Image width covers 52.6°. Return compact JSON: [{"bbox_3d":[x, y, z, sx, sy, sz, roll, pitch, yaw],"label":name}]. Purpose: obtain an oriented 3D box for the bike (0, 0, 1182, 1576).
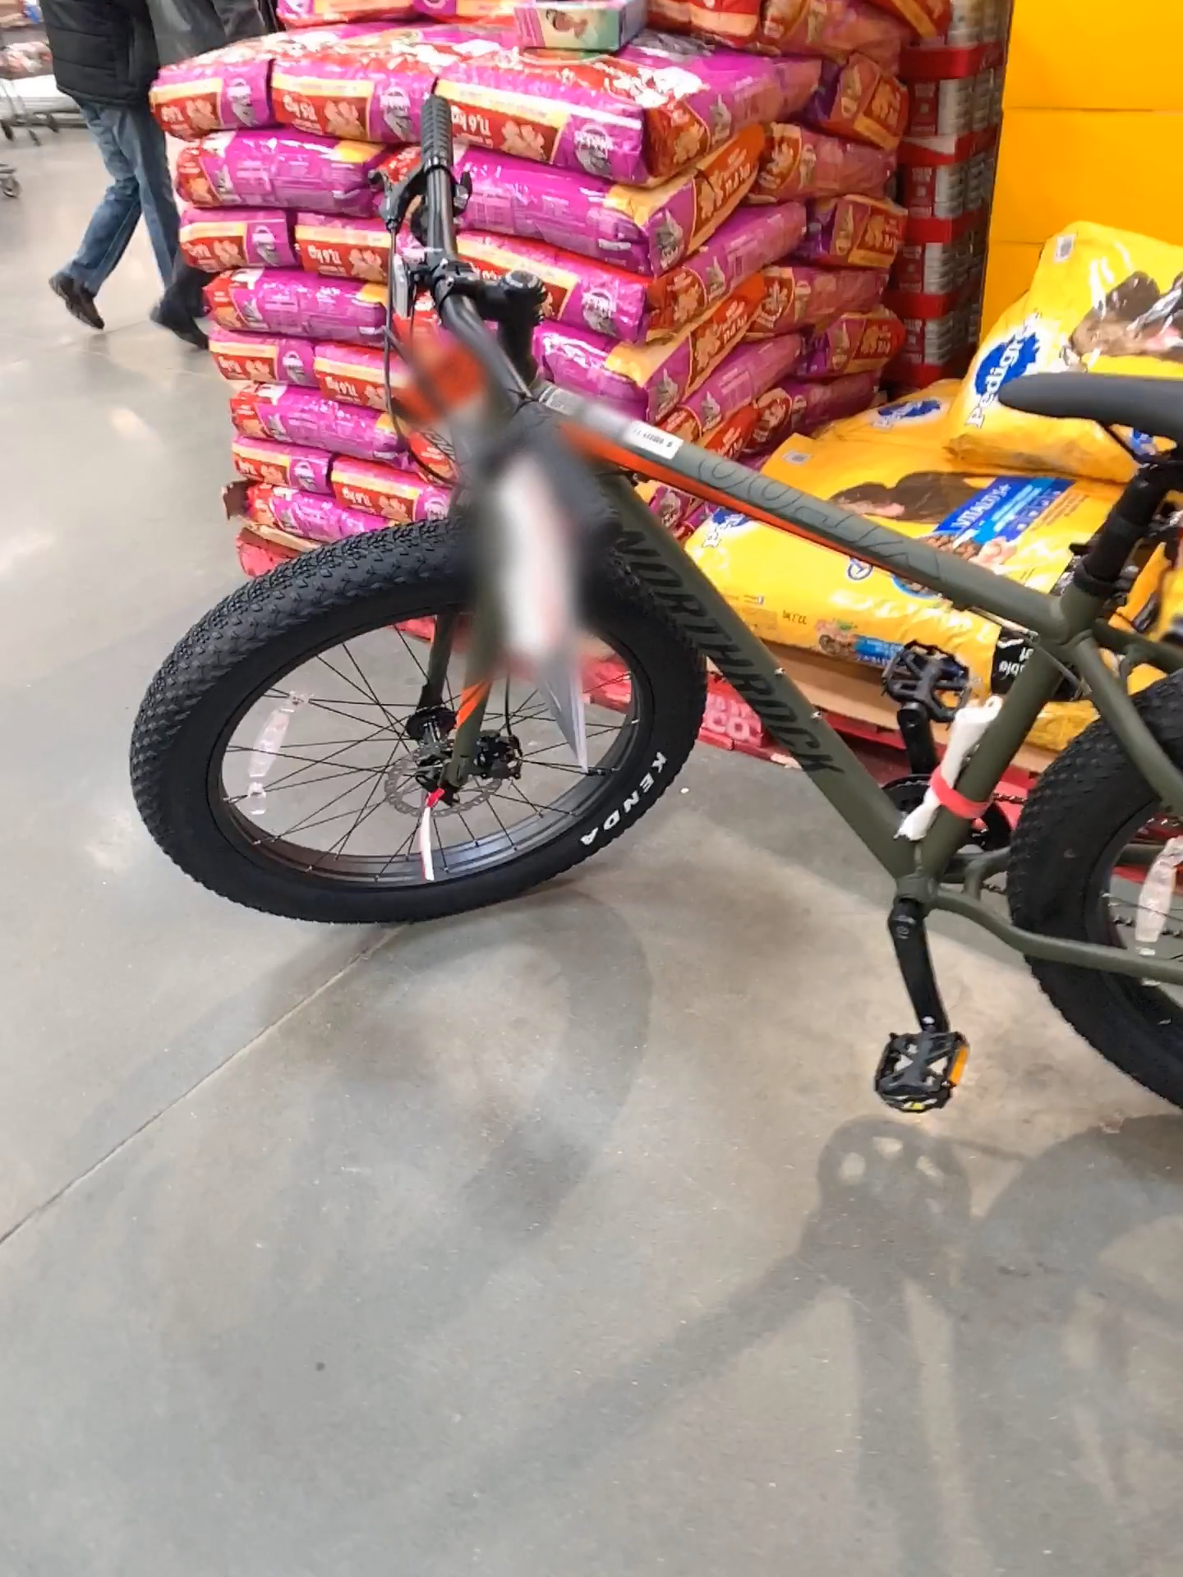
[{"bbox_3d":[0.271,0.011,0.905,1.713,1.202,0.595,7,36,4],"label":"bike"}]
